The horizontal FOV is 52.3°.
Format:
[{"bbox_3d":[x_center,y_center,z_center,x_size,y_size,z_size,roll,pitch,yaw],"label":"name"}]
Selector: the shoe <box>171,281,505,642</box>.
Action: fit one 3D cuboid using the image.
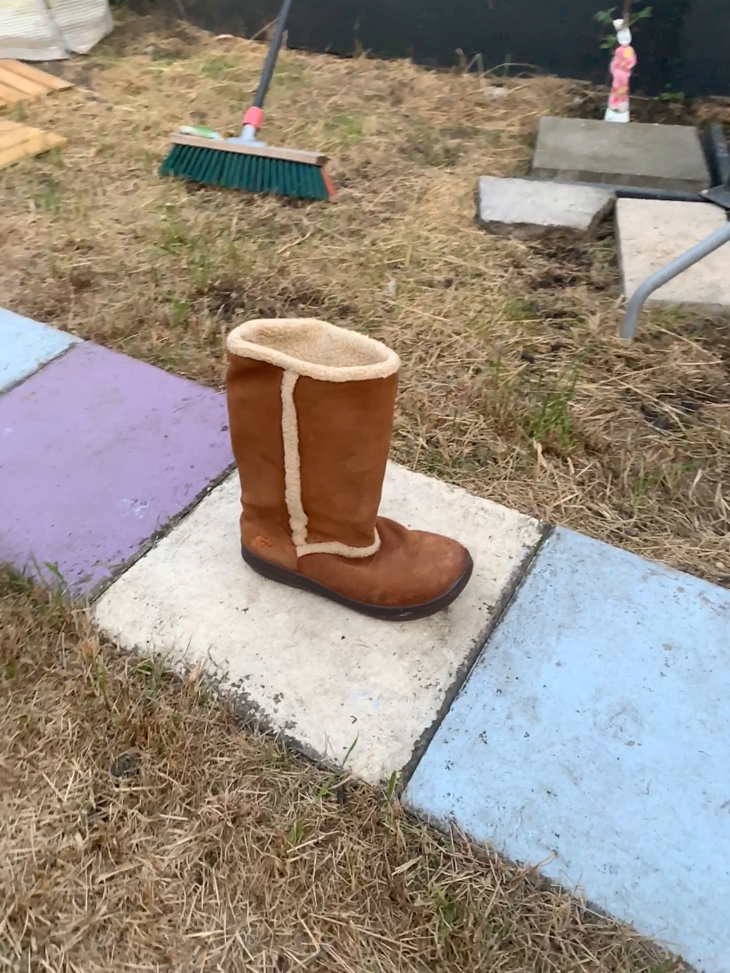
[{"bbox_3d":[-0.020,-0.018,0.725,0.260,0.297,0.111,13,43,16],"label":"shoe"}]
